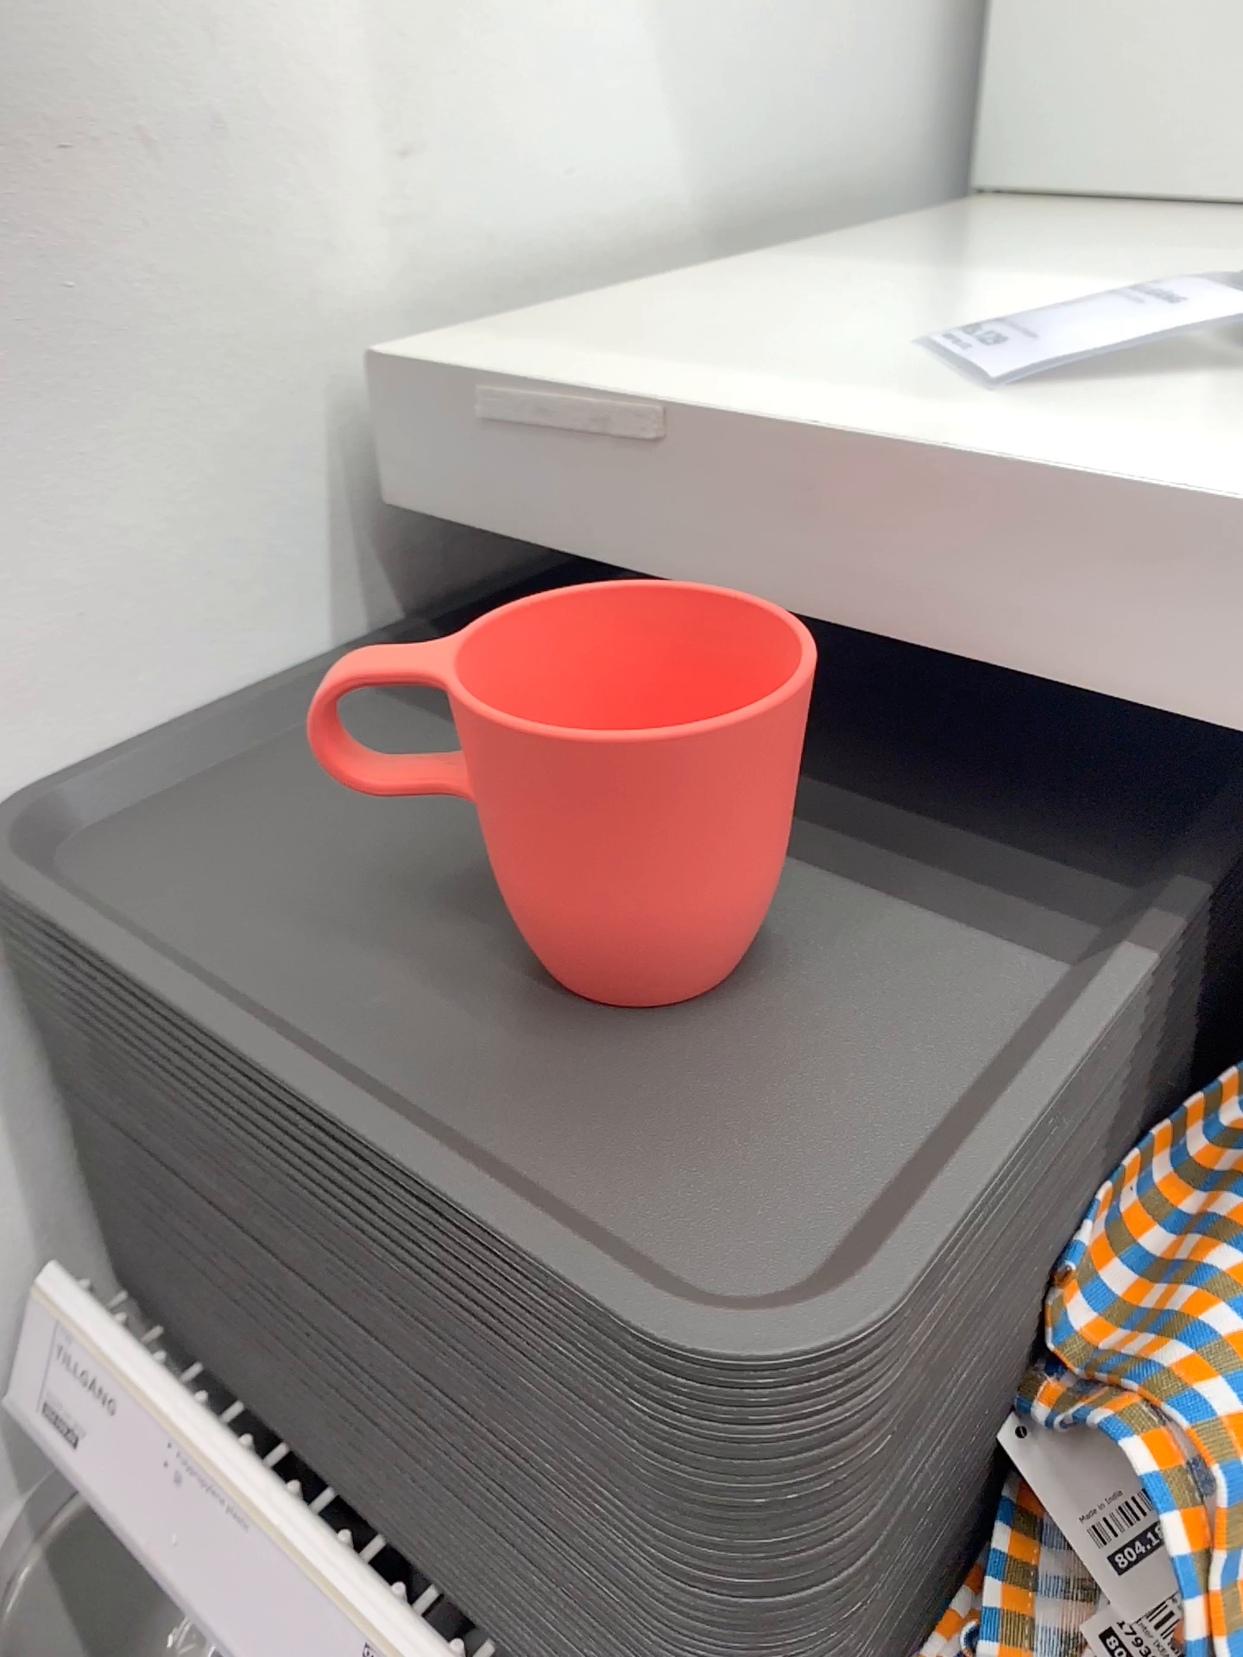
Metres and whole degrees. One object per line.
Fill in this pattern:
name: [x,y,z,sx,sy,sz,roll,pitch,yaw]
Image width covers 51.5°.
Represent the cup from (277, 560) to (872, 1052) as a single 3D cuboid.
cup: [-0.009,-0.007,0.289,0.110,0.080,0.070,-3,31,-2]
